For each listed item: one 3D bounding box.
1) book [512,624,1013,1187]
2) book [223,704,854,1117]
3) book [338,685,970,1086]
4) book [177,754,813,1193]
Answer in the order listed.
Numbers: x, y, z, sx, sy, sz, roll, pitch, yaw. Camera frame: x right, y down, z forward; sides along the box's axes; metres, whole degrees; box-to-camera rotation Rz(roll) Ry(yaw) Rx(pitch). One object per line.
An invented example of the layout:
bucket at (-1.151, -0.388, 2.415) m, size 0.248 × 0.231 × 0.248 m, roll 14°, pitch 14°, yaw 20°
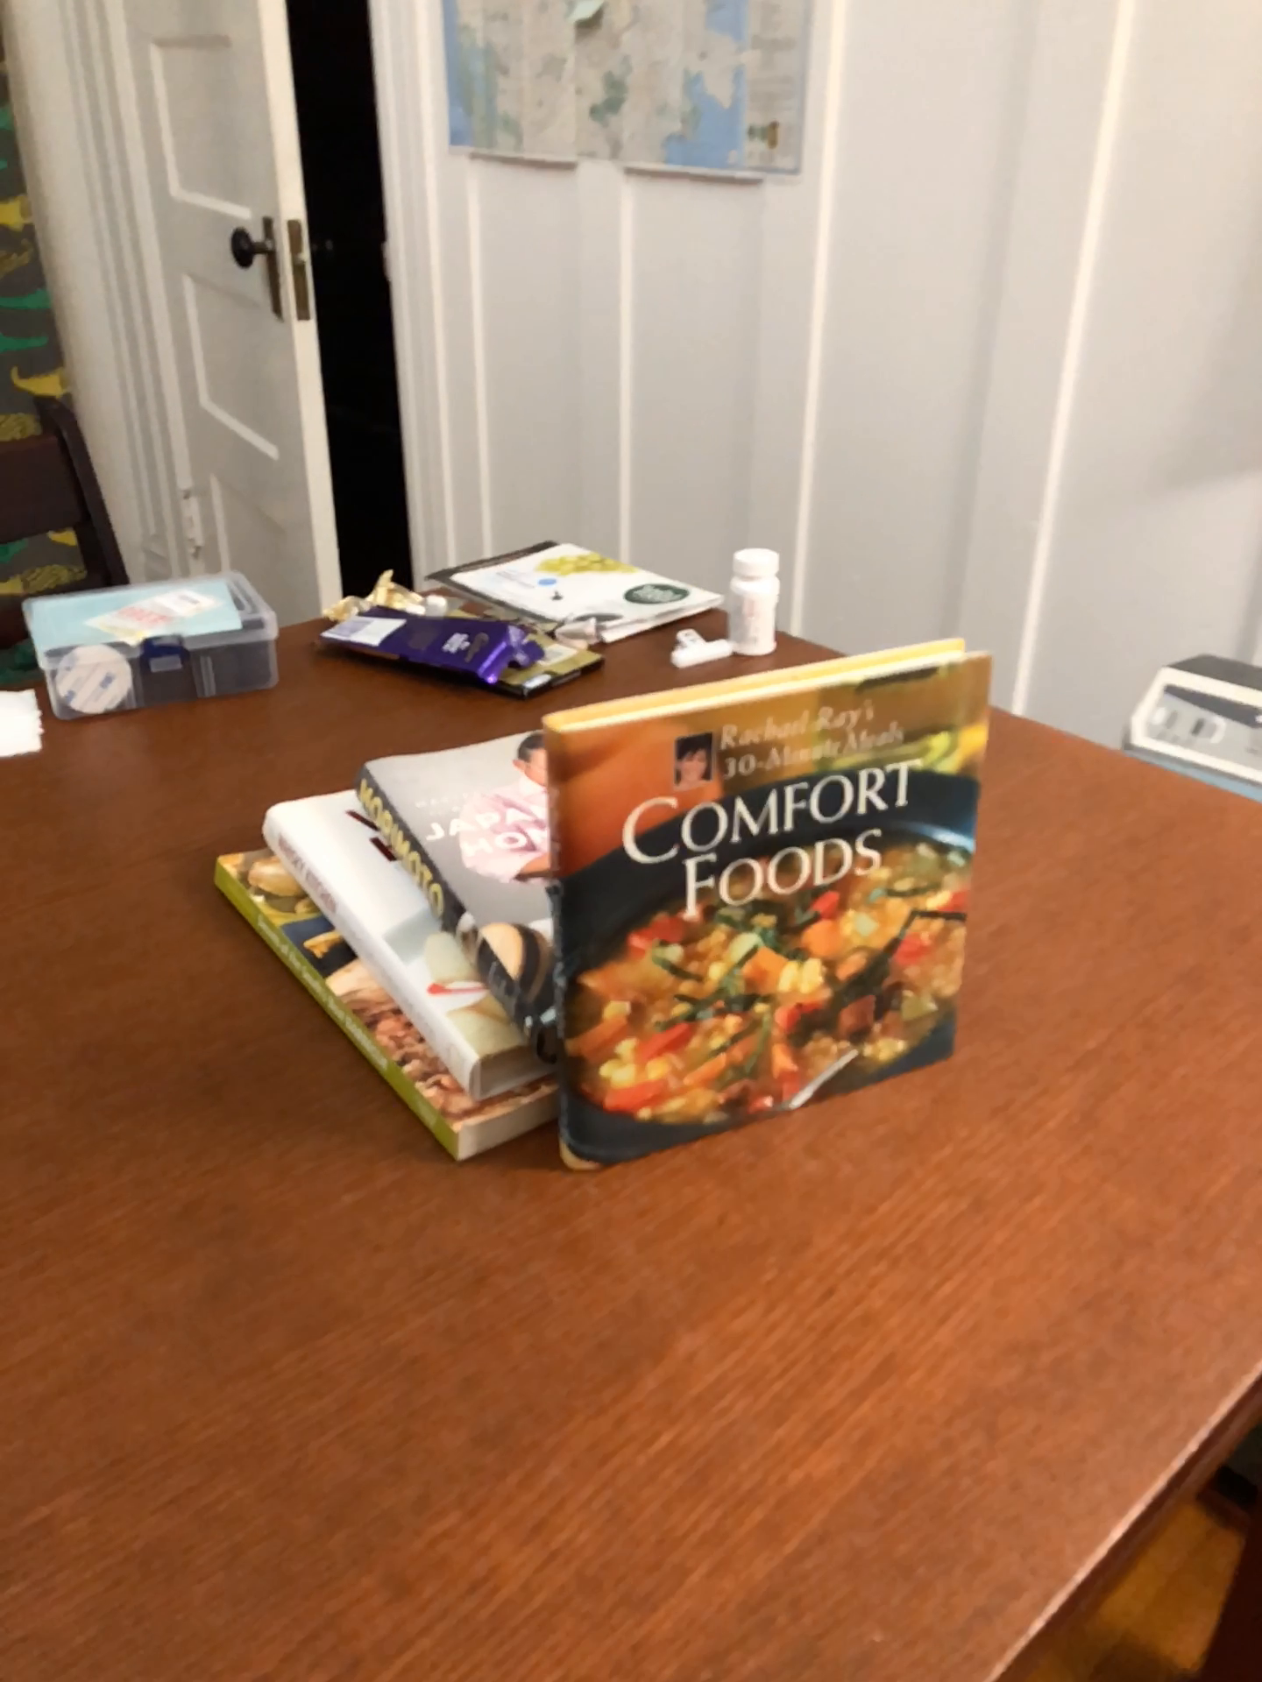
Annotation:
book at (0.056, 0.026, 0.587) m, size 0.210 × 0.209 × 0.030 m, roll -12°, pitch 29°, yaw -23°
book at (-0.060, 0.015, 0.730) m, size 0.220 × 0.030 × 0.281 m, roll -17°, pitch 35°, yaw -29°
book at (-0.002, 0.002, 0.723) m, size 0.220 × 0.030 × 0.281 m, roll -14°, pitch 33°, yaw -24°
book at (-0.081, 0.046, 0.729) m, size 0.221 × 0.030 × 0.281 m, roll -19°, pitch 35°, yaw -31°
